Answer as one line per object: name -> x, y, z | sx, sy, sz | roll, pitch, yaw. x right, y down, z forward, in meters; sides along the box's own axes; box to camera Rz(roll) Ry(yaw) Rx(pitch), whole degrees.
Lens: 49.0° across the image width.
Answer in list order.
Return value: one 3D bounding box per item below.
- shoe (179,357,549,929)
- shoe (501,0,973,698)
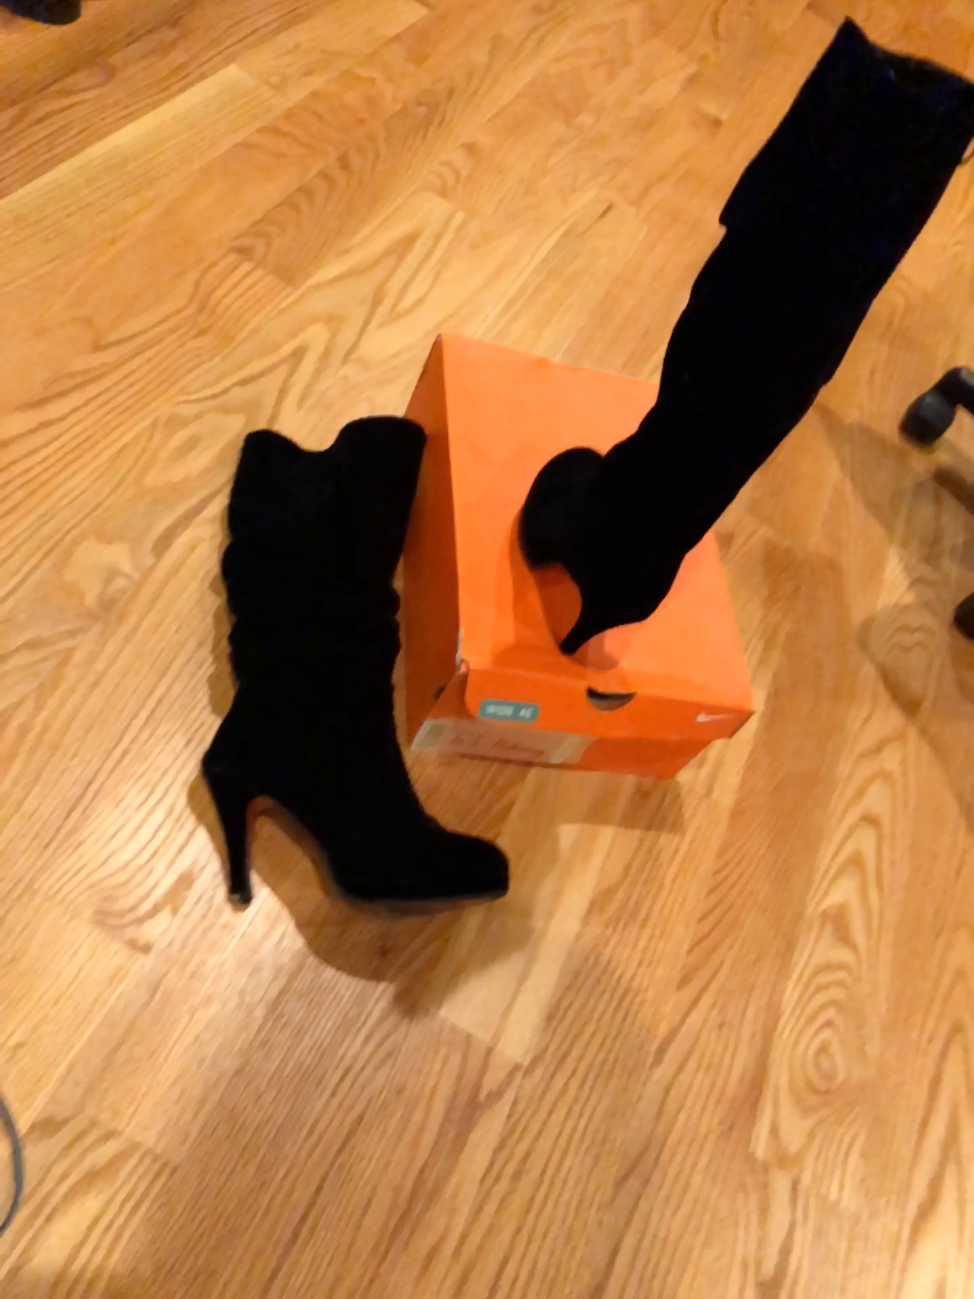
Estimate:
shoe -> -0.090, -0.016, 0.754 | 0.206, 0.089, 0.401 | 7, 54, -18
shoe -> 0.122, -0.171, 0.626 | 0.089, 0.397, 0.217 | 13, 53, -17
